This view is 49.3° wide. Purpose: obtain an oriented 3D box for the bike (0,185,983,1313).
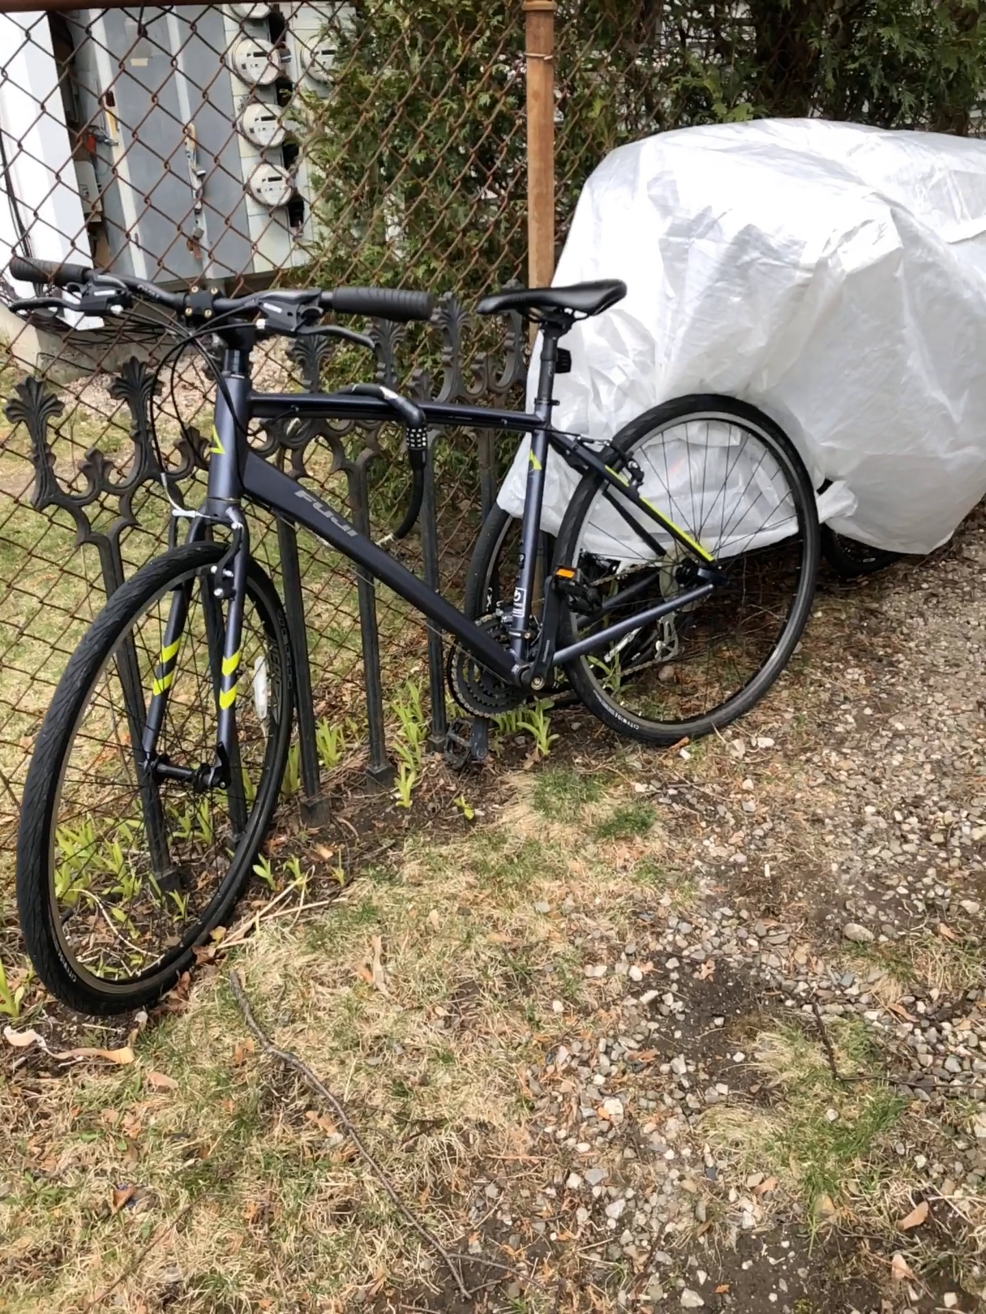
[{"bbox_3d":[0.105,-0.123,2.042,0.678,1.347,2.202,24,34,35],"label":"bike"}]
